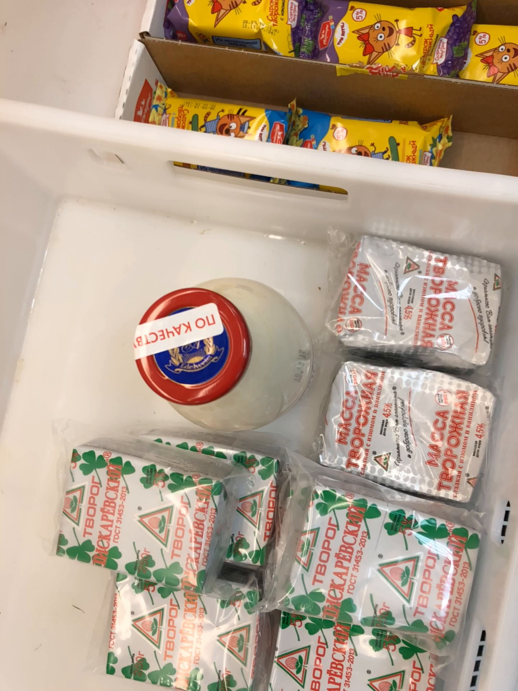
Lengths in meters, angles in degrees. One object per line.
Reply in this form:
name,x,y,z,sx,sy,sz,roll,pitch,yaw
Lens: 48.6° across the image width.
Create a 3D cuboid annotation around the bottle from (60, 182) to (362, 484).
bottle,-0.004,0.004,0.311,0.090,0.210,0.090,-1,84,8
